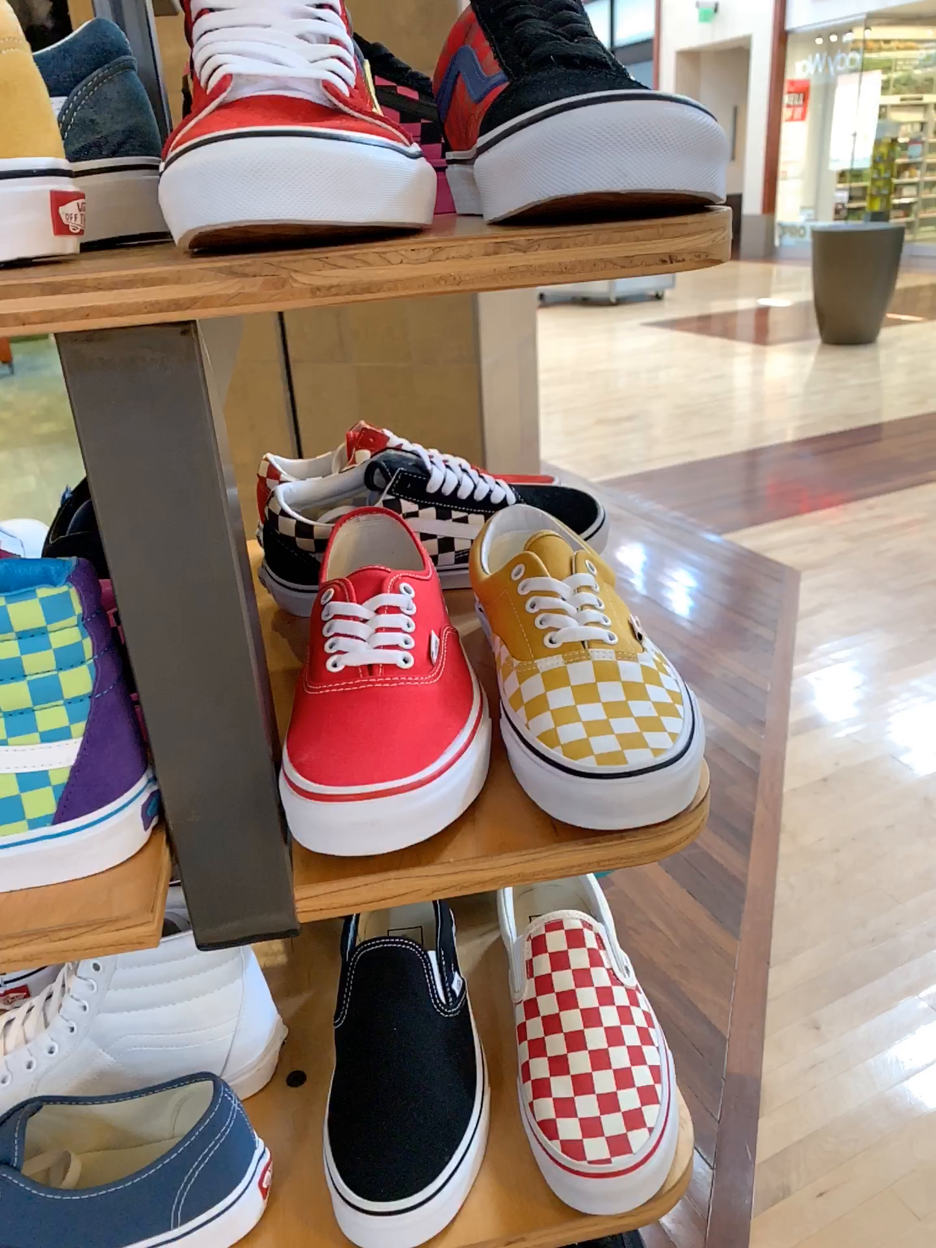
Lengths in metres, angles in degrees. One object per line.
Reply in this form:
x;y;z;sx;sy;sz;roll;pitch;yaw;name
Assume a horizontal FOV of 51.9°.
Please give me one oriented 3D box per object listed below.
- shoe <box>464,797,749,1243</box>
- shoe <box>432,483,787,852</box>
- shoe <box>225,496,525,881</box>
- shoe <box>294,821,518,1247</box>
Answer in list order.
0.067;0.217;0.590;0.103;0.067;0.269;-6;25;-6;shoe
0.052;0.000;0.497;0.103;0.067;0.269;-7;25;-7;shoe
-0.051;0.010;0.491;0.109;0.067;0.269;-6;25;-6;shoe
-0.046;0.235;0.593;0.105;0.067;0.269;-6;25;-6;shoe
